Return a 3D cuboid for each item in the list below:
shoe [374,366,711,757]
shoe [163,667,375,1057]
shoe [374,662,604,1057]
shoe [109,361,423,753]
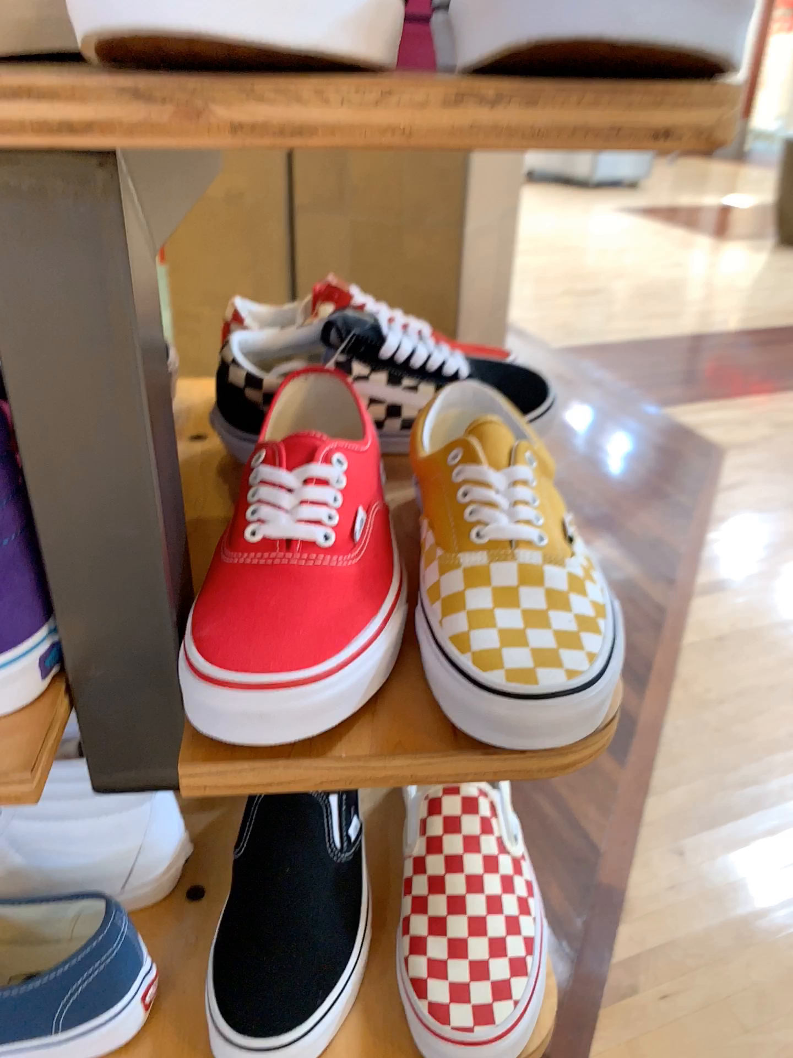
[{"bbox_3d":[0.049,-0.008,0.423,0.103,0.067,0.269,-1,30,-5],"label":"shoe"},{"bbox_3d":[-0.072,0.204,0.542,0.105,0.067,0.269,0,30,-4],"label":"shoe"},{"bbox_3d":[0.042,0.200,0.536,0.103,0.067,0.269,0,30,-4],"label":"shoe"},{"bbox_3d":[-0.054,-0.010,0.419,0.109,0.067,0.269,0,30,-4],"label":"shoe"}]
